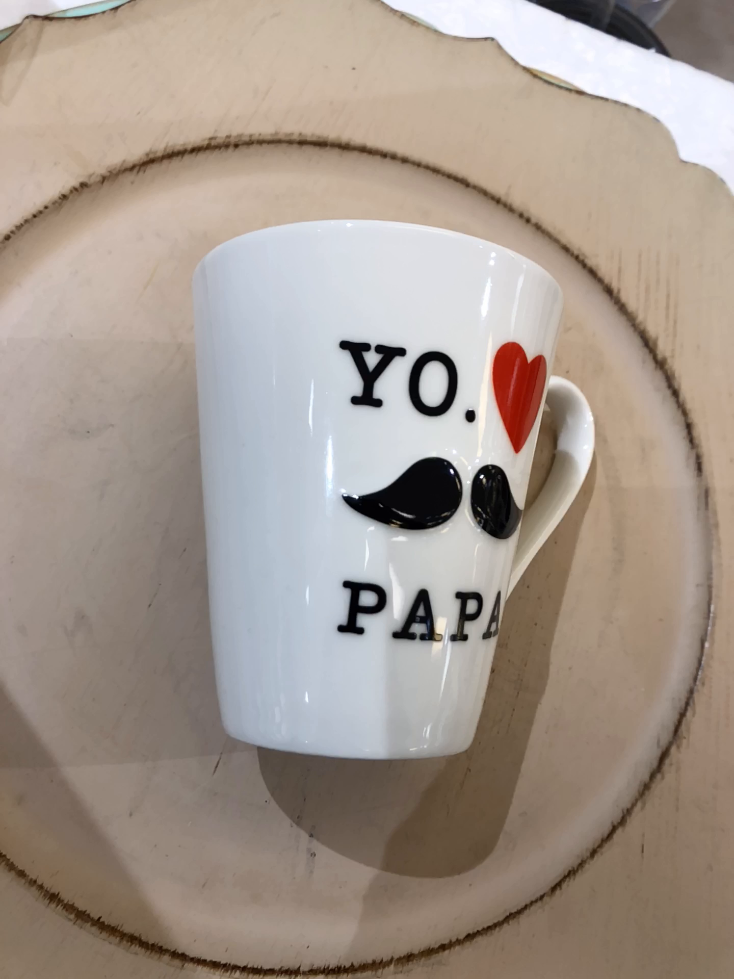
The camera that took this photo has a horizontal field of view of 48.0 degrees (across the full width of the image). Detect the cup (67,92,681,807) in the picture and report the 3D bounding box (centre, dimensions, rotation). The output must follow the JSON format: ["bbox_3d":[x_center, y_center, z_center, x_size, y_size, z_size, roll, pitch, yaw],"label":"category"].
[{"bbox_3d":[0.001,-0.001,0.204,0.110,0.090,0.120,1,87,-33],"label":"cup"}]
